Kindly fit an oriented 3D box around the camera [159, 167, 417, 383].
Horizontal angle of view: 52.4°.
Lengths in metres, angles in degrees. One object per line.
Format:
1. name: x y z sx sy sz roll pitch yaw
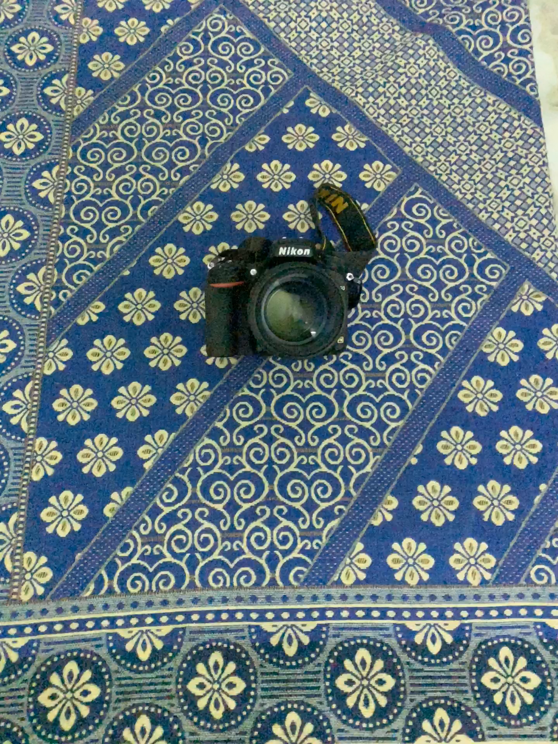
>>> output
1. camera: 0.005 -0.059 0.450 0.160 0.191 0.130 1 88 -1
